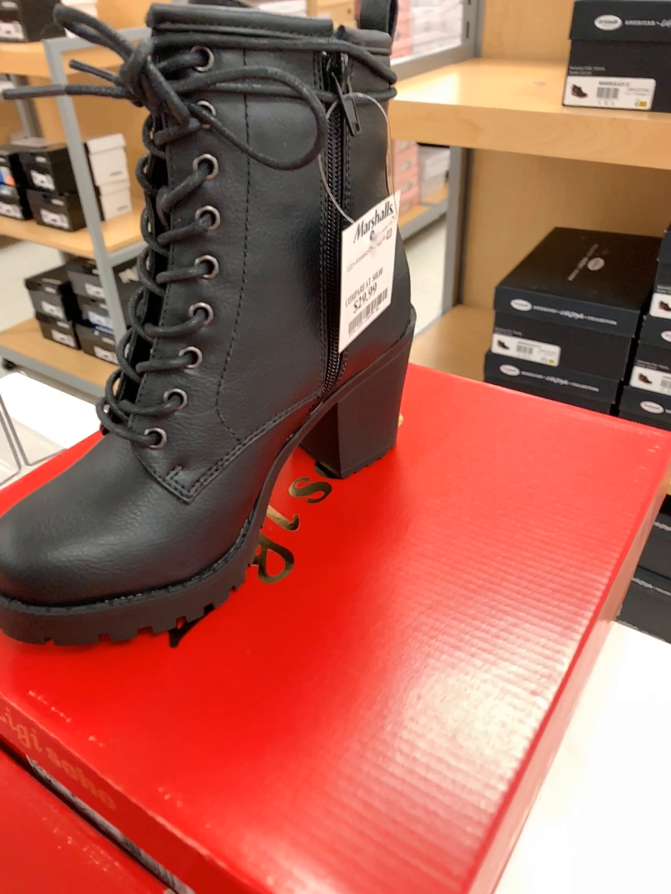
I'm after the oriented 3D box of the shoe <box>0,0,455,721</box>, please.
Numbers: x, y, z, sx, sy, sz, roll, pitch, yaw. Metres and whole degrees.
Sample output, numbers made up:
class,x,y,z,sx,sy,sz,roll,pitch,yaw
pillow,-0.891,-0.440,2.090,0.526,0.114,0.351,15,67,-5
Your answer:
class,x,y,z,sx,sy,sz,roll,pitch,yaw
shoe,-0.060,-0.051,0.260,0.201,0.203,0.092,-31,45,-34
